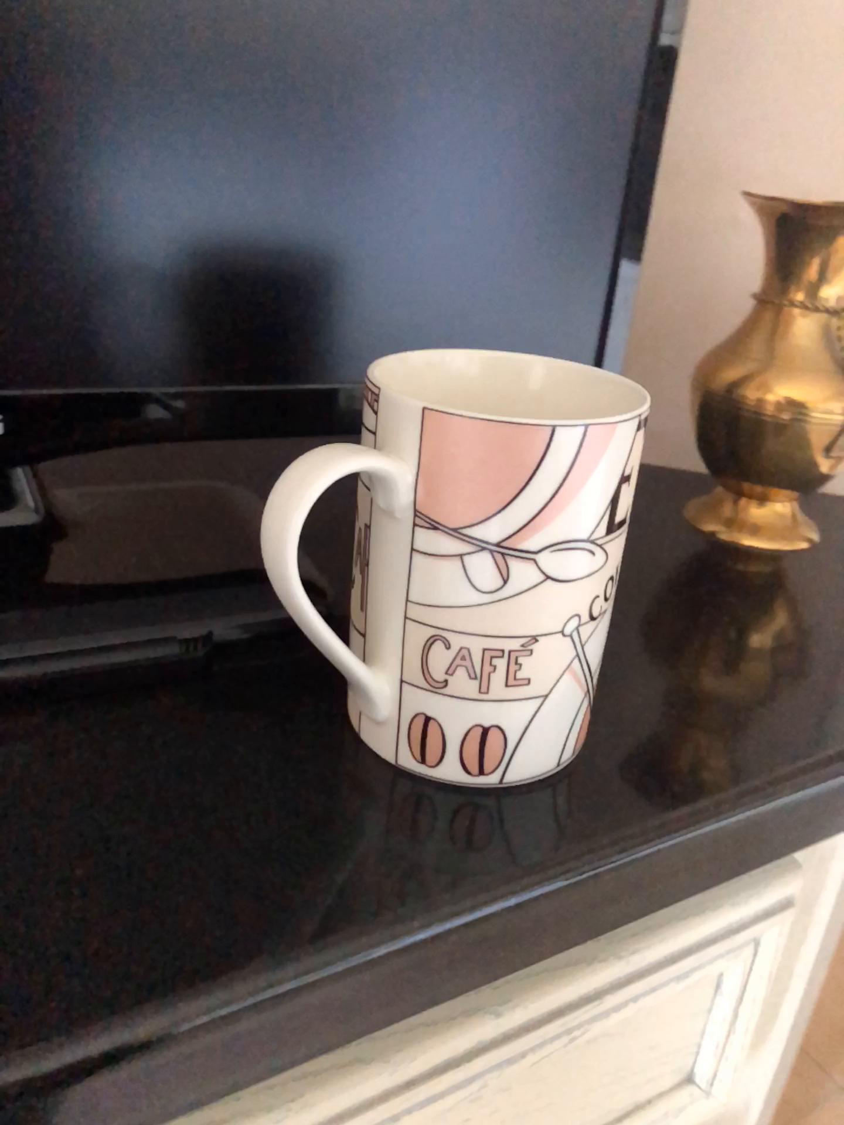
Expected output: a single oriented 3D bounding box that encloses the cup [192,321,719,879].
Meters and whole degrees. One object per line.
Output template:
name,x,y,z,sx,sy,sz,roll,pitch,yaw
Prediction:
cup,0.005,0.000,0.251,0.110,0.109,0.070,-13,30,-36
